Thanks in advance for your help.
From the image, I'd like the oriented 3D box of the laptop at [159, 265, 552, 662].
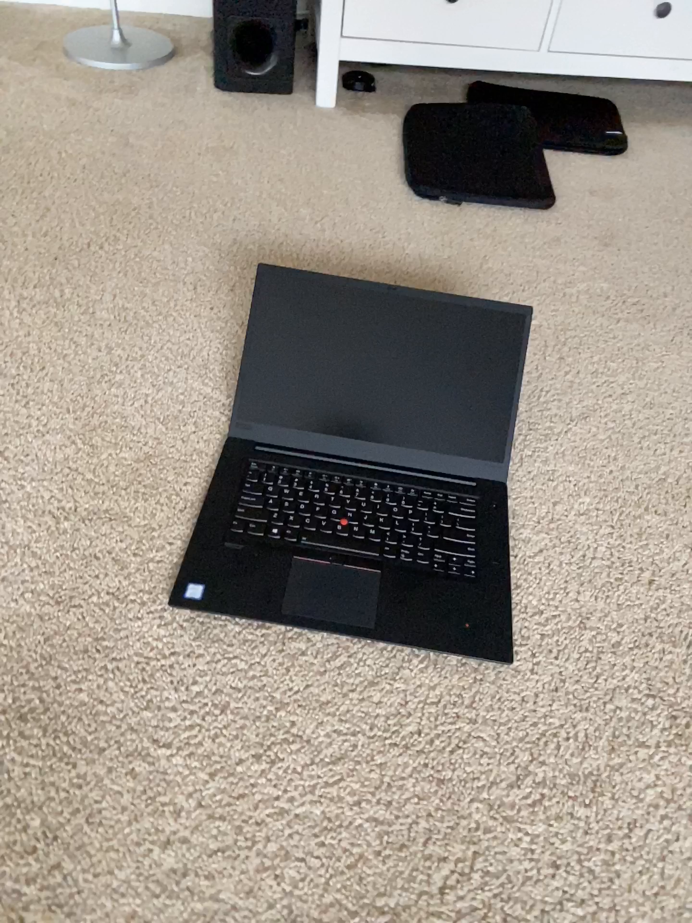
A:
[{"bbox_3d":[0.031,-0.025,0.833,0.359,0.141,0.434,10,48,1],"label":"laptop"}]
